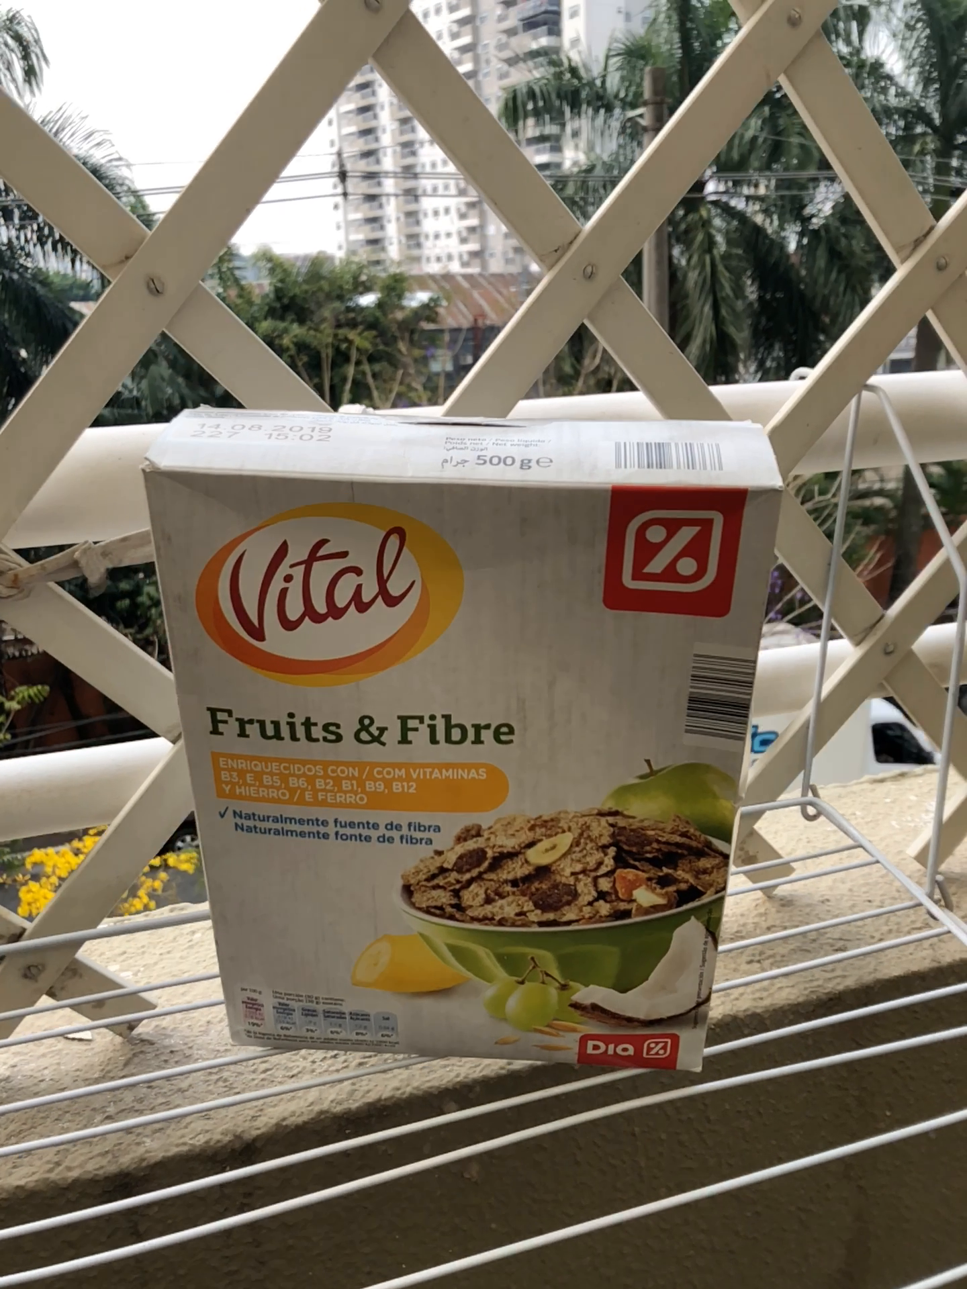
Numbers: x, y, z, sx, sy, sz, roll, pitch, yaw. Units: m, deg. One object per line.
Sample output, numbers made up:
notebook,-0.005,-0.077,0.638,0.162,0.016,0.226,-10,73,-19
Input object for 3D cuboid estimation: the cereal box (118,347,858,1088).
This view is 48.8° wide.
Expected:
cereal box,0.003,0.035,0.395,0.210,0.268,0.071,2,29,5
